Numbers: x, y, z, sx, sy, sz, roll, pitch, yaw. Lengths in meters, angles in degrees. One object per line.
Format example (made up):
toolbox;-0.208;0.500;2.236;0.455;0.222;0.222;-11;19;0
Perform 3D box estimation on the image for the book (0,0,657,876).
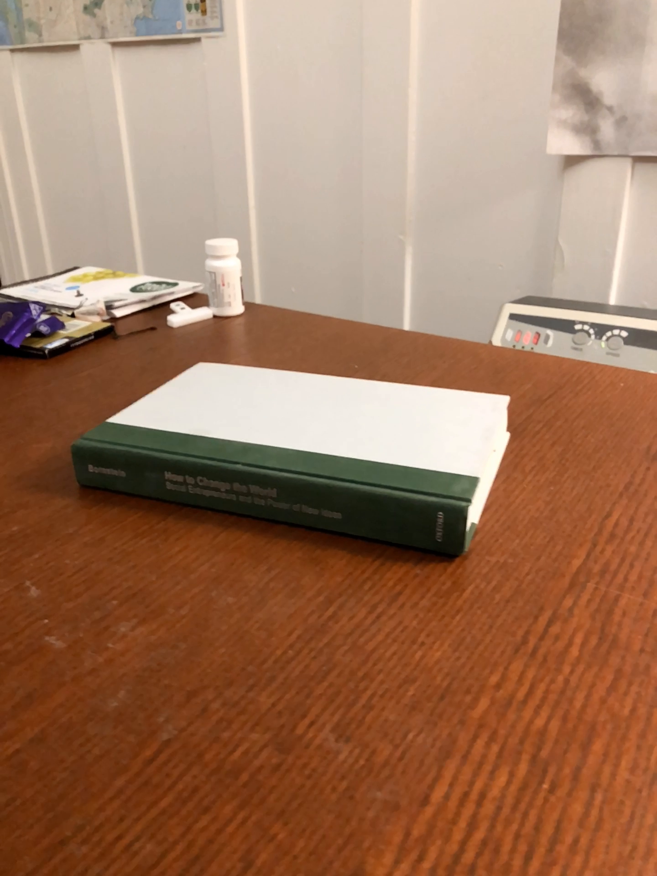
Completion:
book;0.261;-0.323;0.258;1.000;0.995;1.005;-1;25;1
